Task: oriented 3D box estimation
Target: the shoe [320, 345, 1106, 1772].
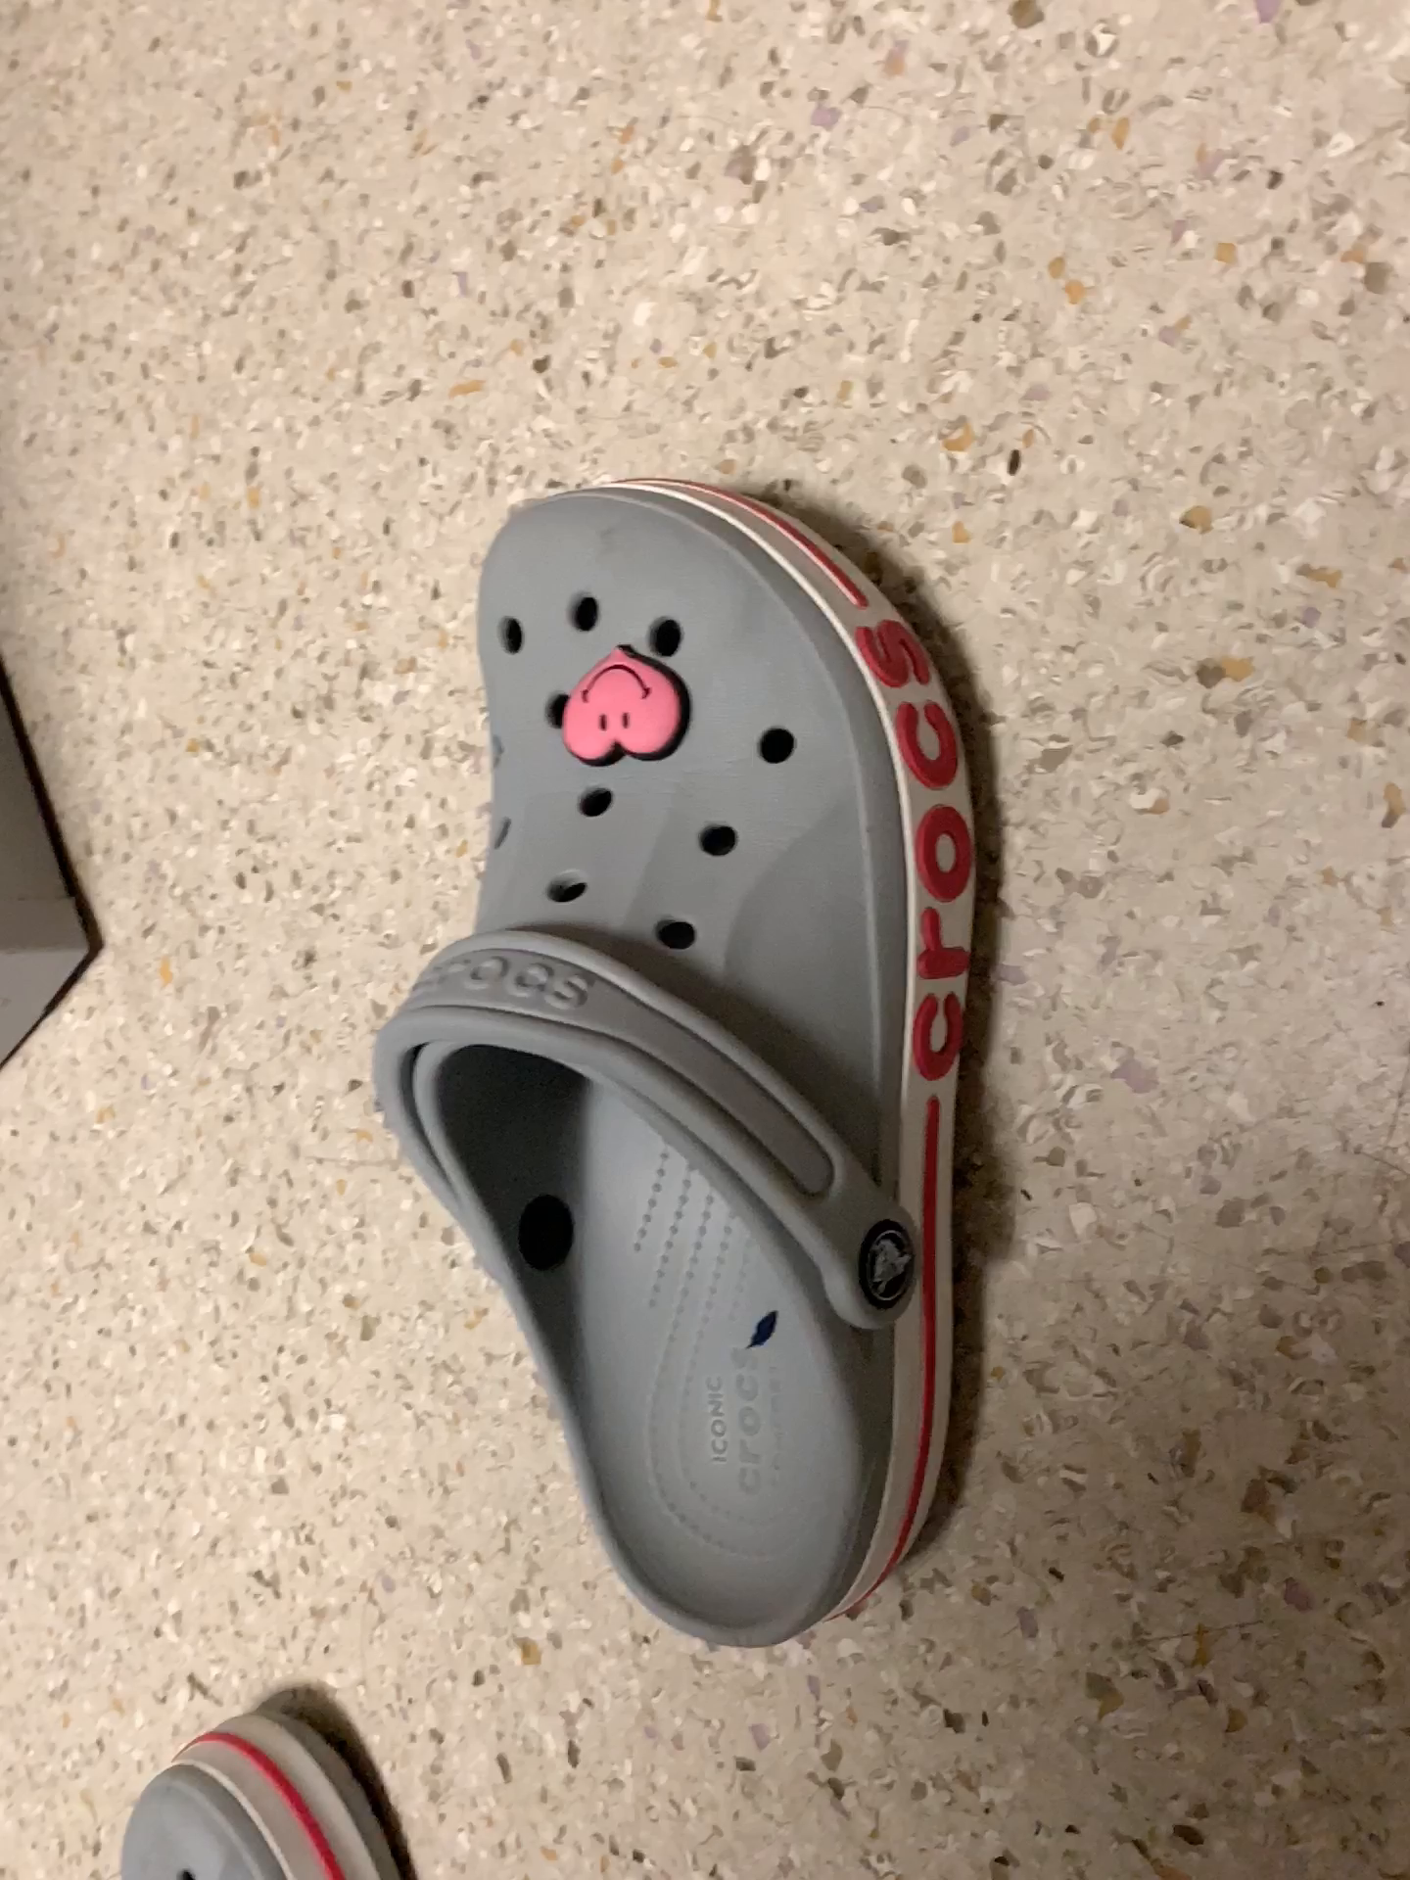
[{"bbox_3d":[0.000,0.021,0.299,0.110,0.091,0.226,-8,85,37],"label":"shoe"}]
